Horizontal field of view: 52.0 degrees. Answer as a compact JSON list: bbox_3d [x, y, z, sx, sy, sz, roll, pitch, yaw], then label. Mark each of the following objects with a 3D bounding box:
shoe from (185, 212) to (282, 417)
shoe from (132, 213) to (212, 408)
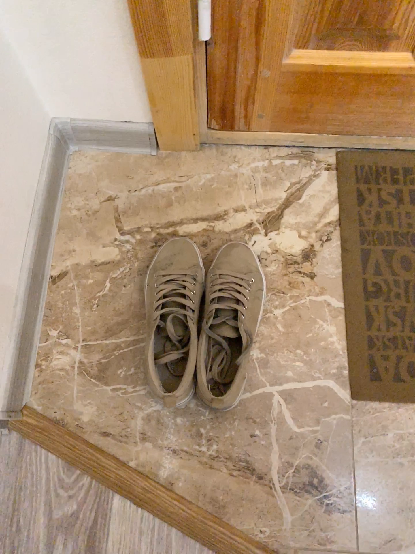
[{"bbox_3d":[0.036,0.050,0.554,0.090,0.100,0.240,7,72,3],"label":"shoe"},{"bbox_3d":[-0.041,0.046,0.566,0.090,0.100,0.240,-1,71,1],"label":"shoe"}]
